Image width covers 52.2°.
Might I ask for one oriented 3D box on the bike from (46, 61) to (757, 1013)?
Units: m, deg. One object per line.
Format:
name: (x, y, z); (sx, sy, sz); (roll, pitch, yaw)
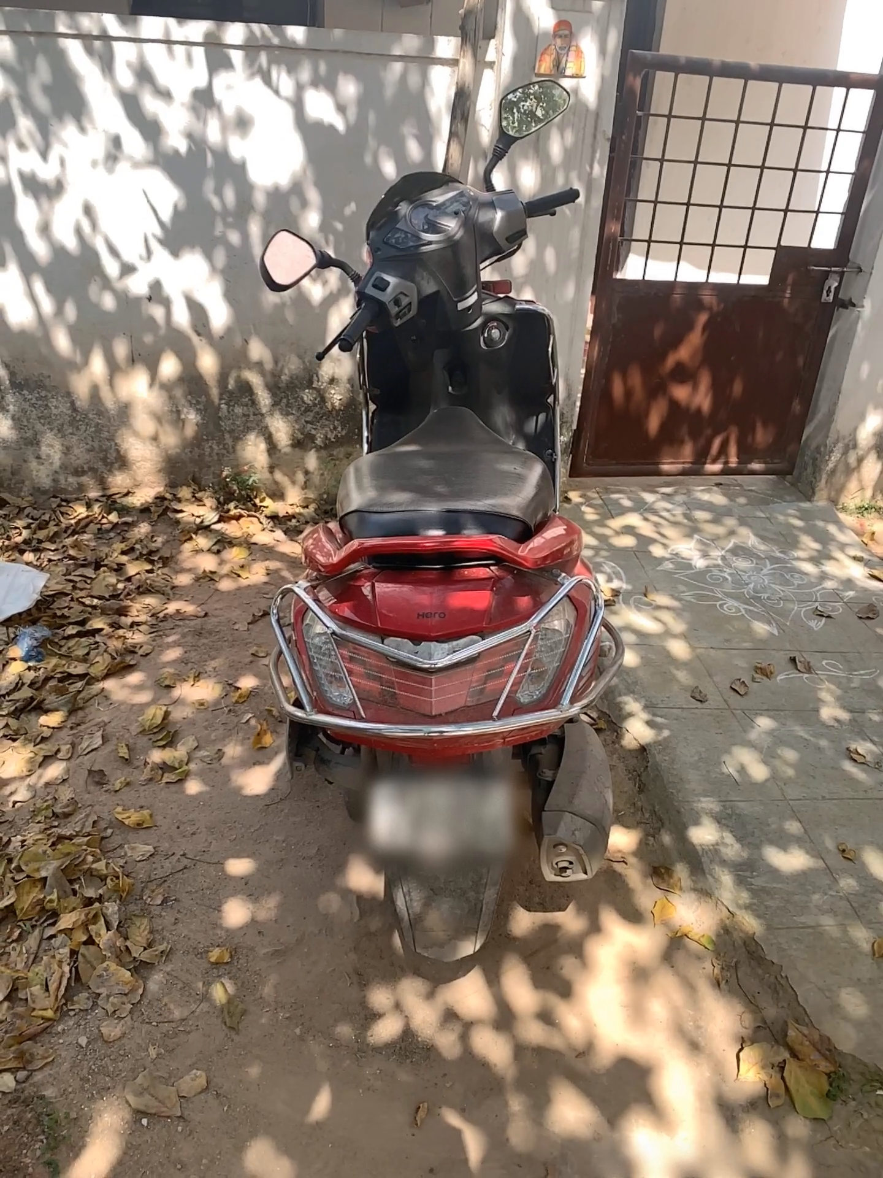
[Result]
bike: (-0.193, -0.342, 1.915); (0.735, 1.155, 1.768); (0, 33, -8)
